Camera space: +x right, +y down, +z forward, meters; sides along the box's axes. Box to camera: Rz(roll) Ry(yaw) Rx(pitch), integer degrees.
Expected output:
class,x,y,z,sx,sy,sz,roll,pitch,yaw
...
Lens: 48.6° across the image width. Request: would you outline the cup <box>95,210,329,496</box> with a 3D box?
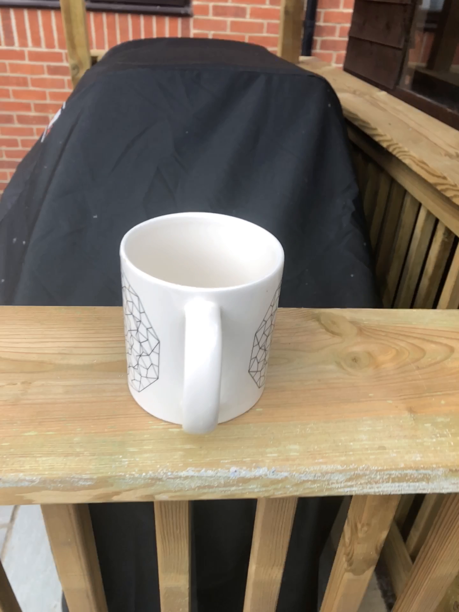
class,x,y,z,sx,sy,sz,roll,pitch,yaw
cup,-0.015,0.014,0.274,0.090,0.089,0.131,-1,31,-7
